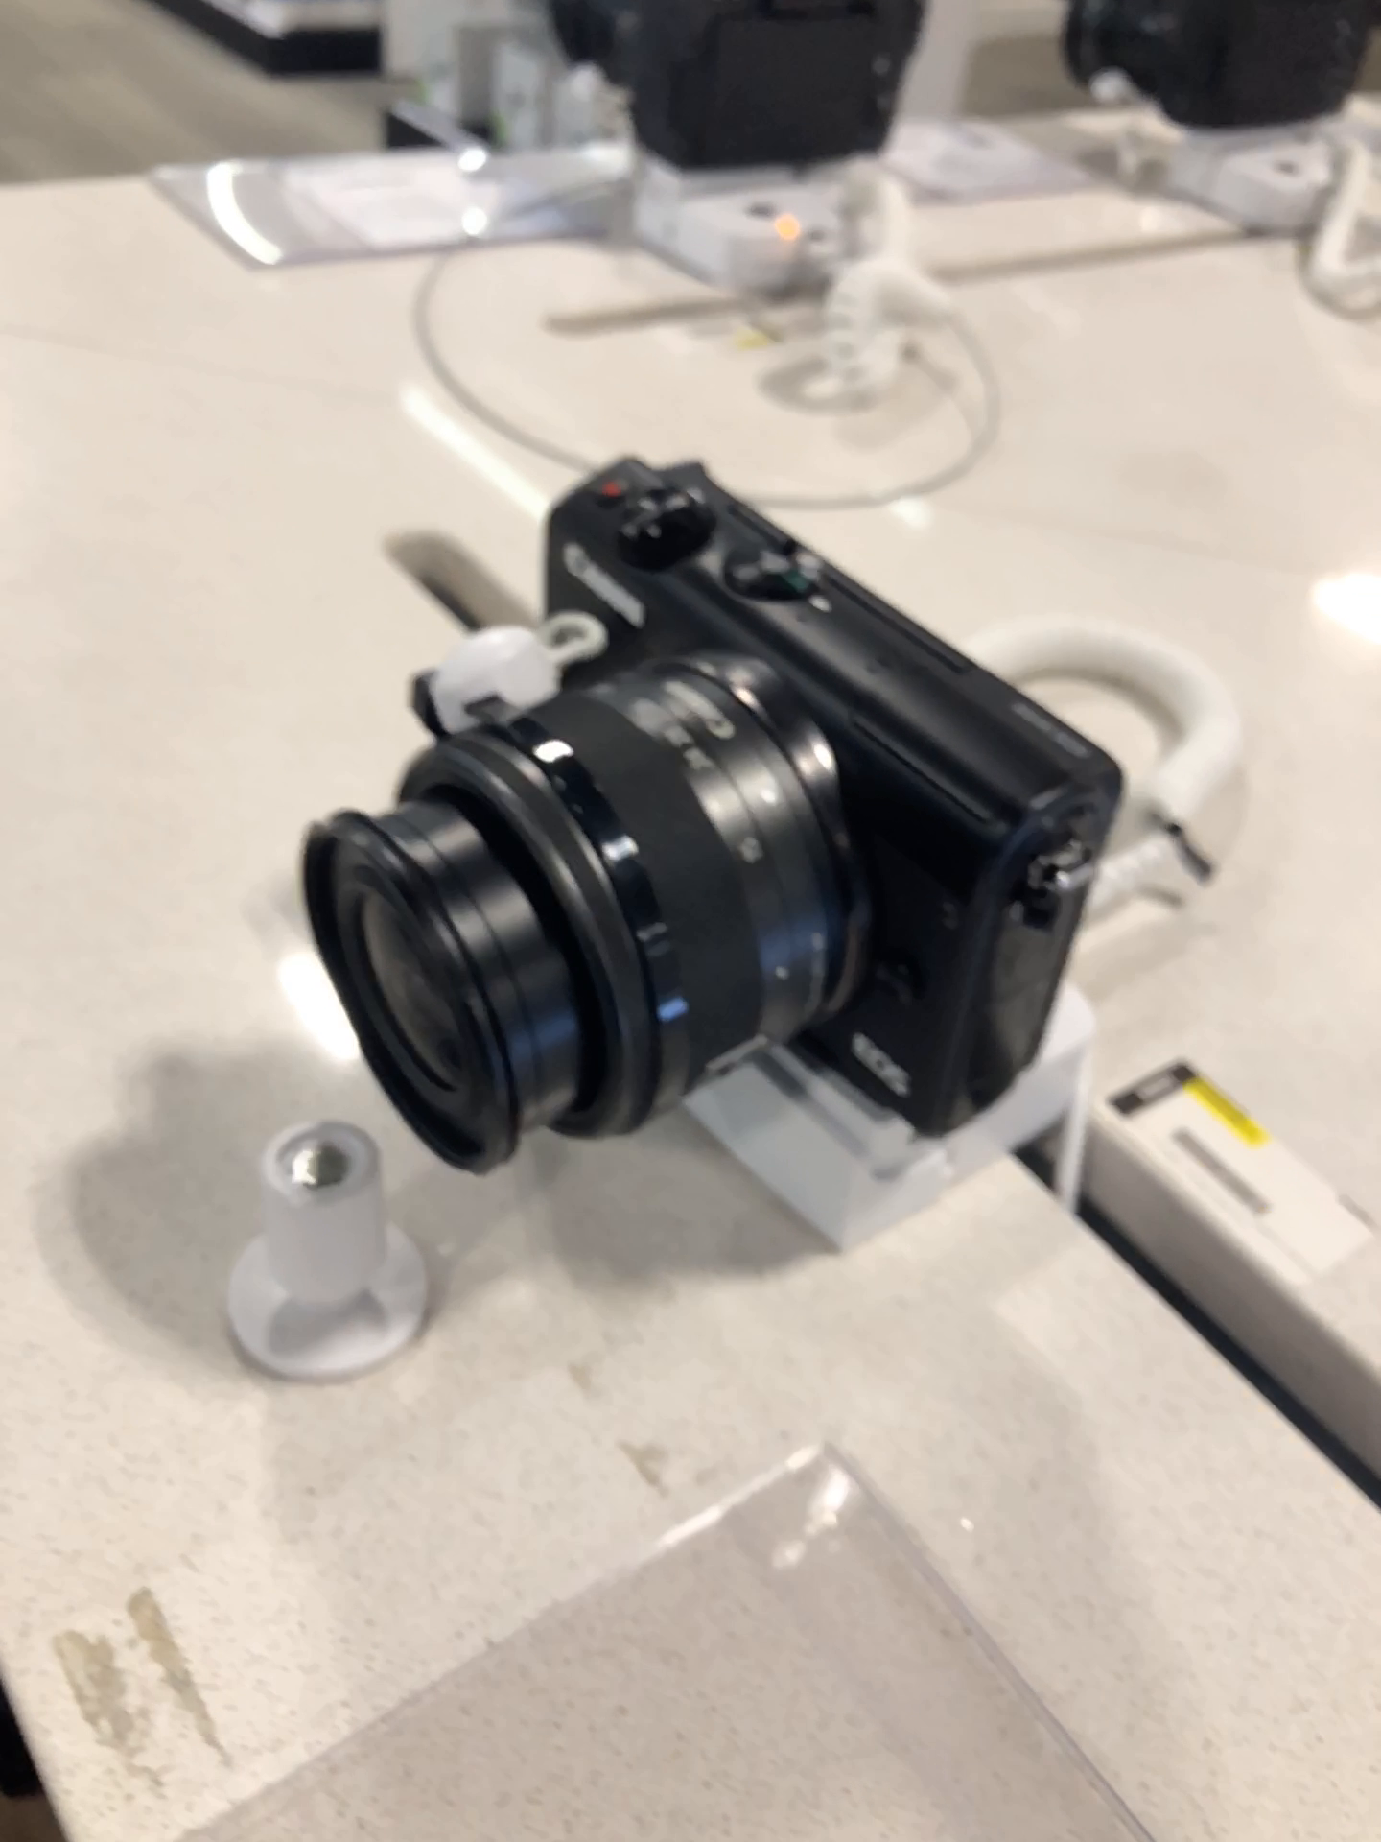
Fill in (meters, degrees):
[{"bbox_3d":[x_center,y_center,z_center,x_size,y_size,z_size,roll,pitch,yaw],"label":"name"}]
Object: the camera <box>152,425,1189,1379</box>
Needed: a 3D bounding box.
[{"bbox_3d":[-0.010,-0.015,0.231,0.090,0.060,0.121,-20,48,-30],"label":"camera"}]
